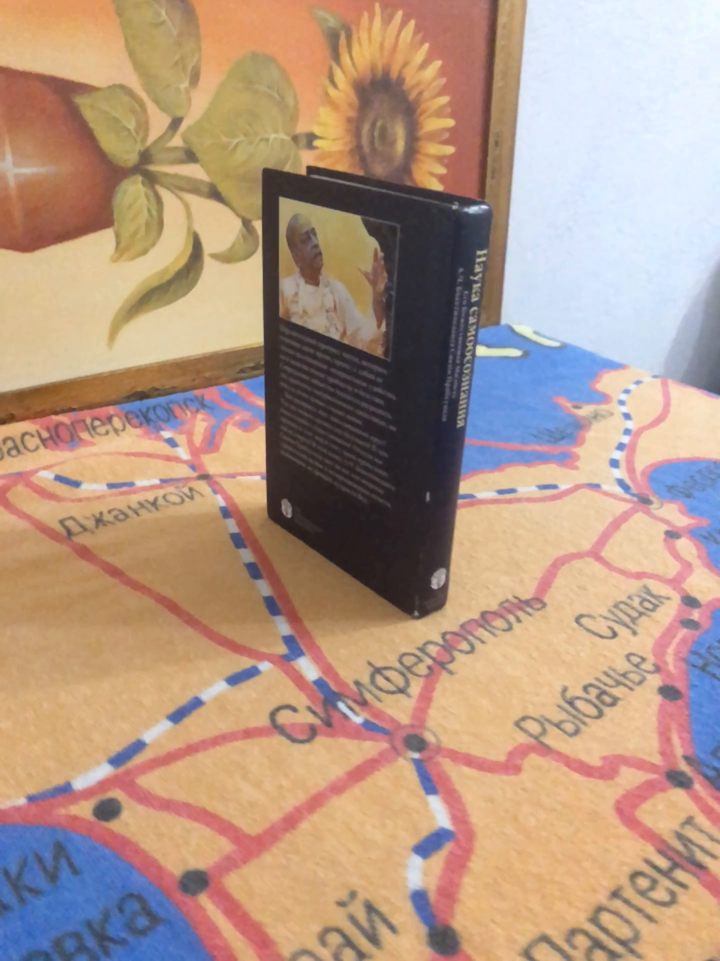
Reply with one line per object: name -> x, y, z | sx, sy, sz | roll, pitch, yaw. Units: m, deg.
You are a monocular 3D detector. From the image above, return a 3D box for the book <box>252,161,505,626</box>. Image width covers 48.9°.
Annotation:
book -> -0.001, -0.047, 0.412 | 0.030, 0.205, 0.140 | -21, 35, -36
